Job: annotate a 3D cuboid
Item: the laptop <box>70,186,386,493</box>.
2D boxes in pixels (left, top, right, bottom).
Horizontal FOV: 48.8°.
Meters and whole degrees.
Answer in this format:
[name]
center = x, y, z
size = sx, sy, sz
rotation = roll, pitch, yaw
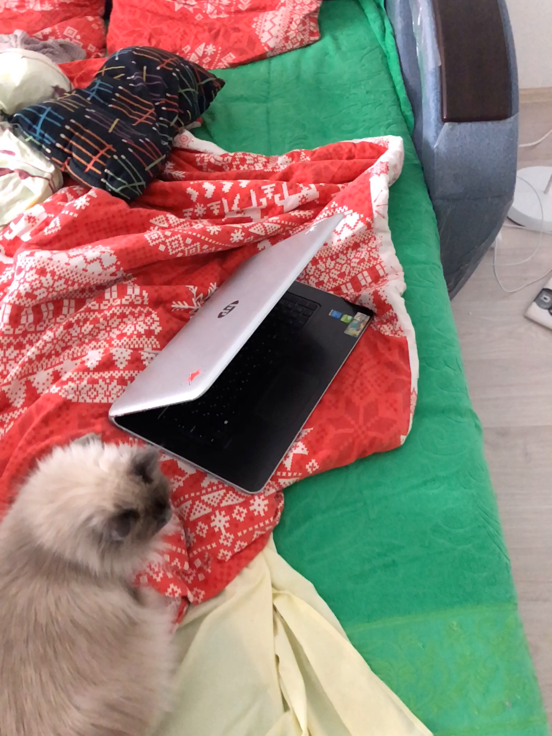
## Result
[laptop]
center = -0.047, -0.066, 0.949
size = 0.276, 0.176, 0.414
rotation = 24, 56, 19
